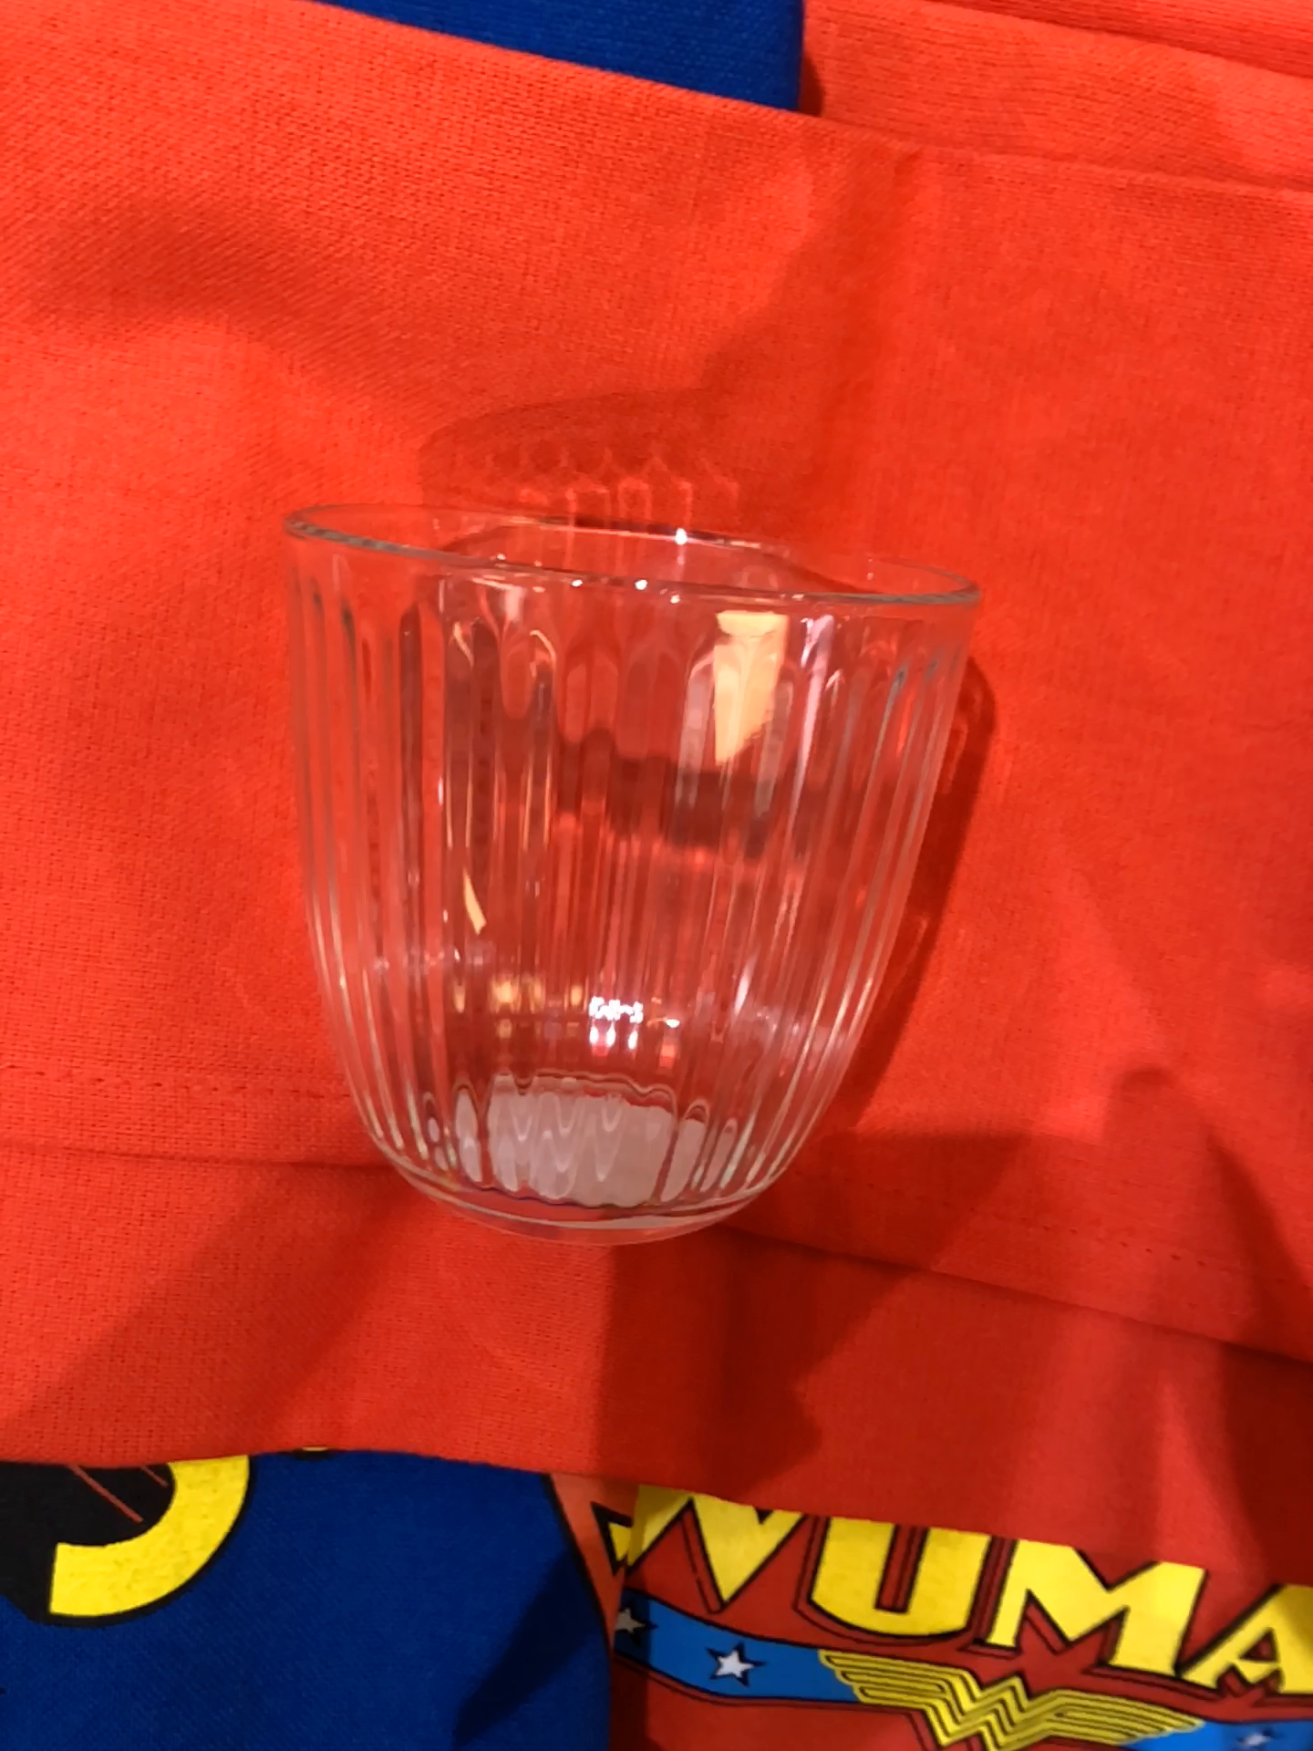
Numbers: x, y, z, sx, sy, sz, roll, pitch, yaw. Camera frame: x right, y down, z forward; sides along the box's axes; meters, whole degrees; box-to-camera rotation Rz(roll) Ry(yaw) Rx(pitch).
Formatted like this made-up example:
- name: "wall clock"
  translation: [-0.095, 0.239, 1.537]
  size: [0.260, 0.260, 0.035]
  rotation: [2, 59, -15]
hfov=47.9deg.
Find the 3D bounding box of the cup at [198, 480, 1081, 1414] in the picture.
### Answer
- name: "cup"
  translation: [-0.007, 0.006, 0.179]
  size: [0.080, 0.060, 0.090]
  rotation: [6, 109, -6]
